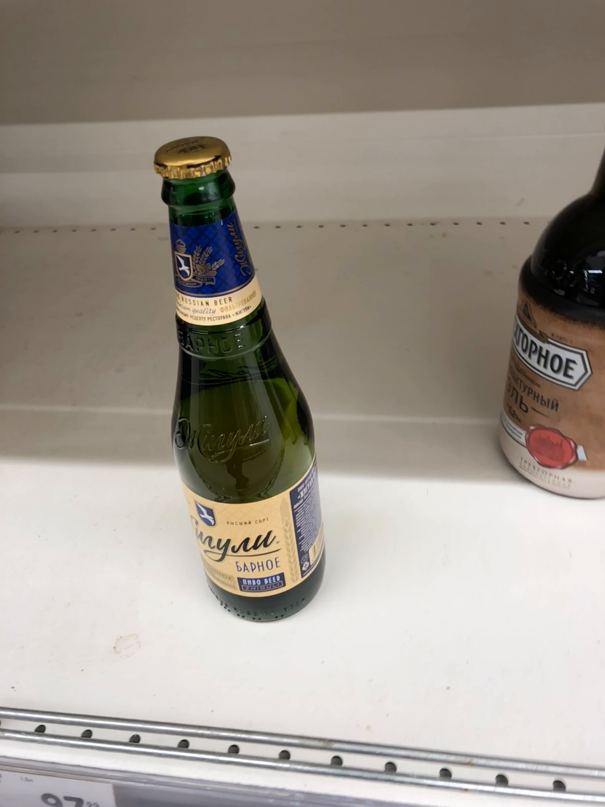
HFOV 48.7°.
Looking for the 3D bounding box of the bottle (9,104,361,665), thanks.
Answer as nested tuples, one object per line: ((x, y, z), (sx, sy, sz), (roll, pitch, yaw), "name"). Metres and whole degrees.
((-0.033, 0.004, 0.316), (0.090, 0.249, 0.080), (18, 44, 26), "bottle")
